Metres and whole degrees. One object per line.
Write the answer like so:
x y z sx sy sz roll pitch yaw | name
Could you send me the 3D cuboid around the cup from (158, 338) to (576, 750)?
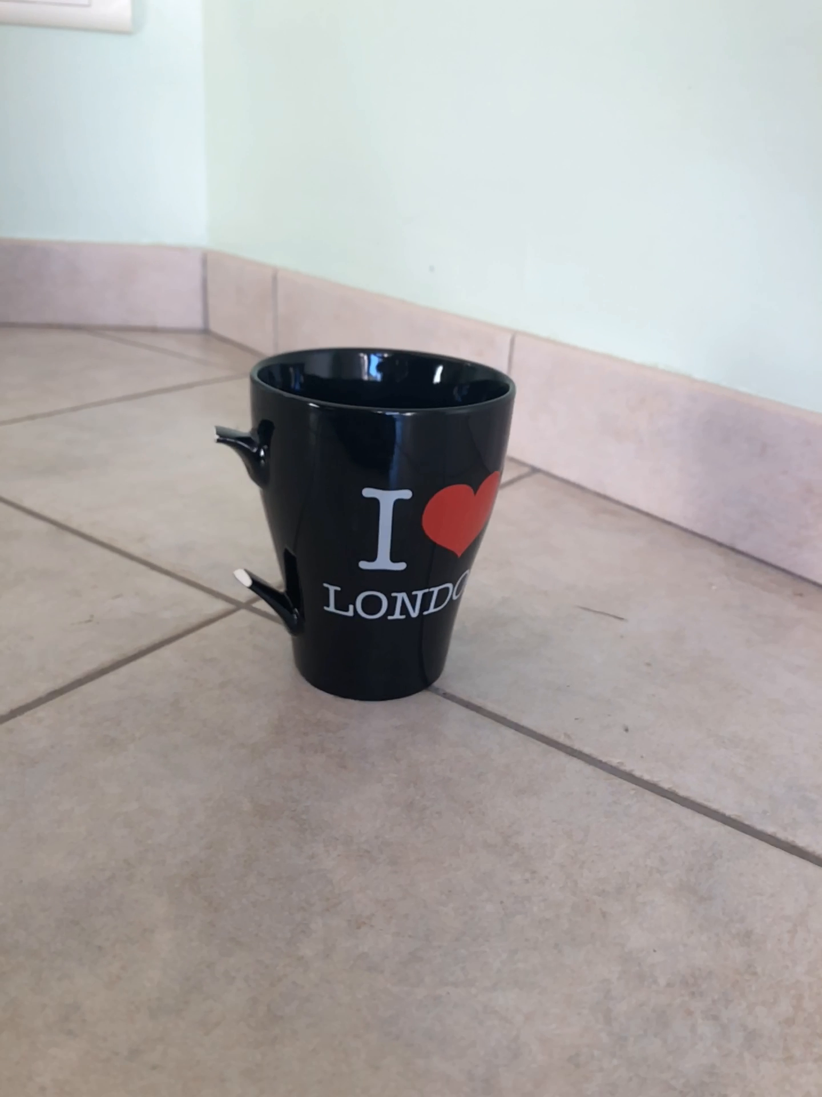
-0.021 -0.012 0.327 0.108 0.103 0.098 -10 27 -28 | cup
